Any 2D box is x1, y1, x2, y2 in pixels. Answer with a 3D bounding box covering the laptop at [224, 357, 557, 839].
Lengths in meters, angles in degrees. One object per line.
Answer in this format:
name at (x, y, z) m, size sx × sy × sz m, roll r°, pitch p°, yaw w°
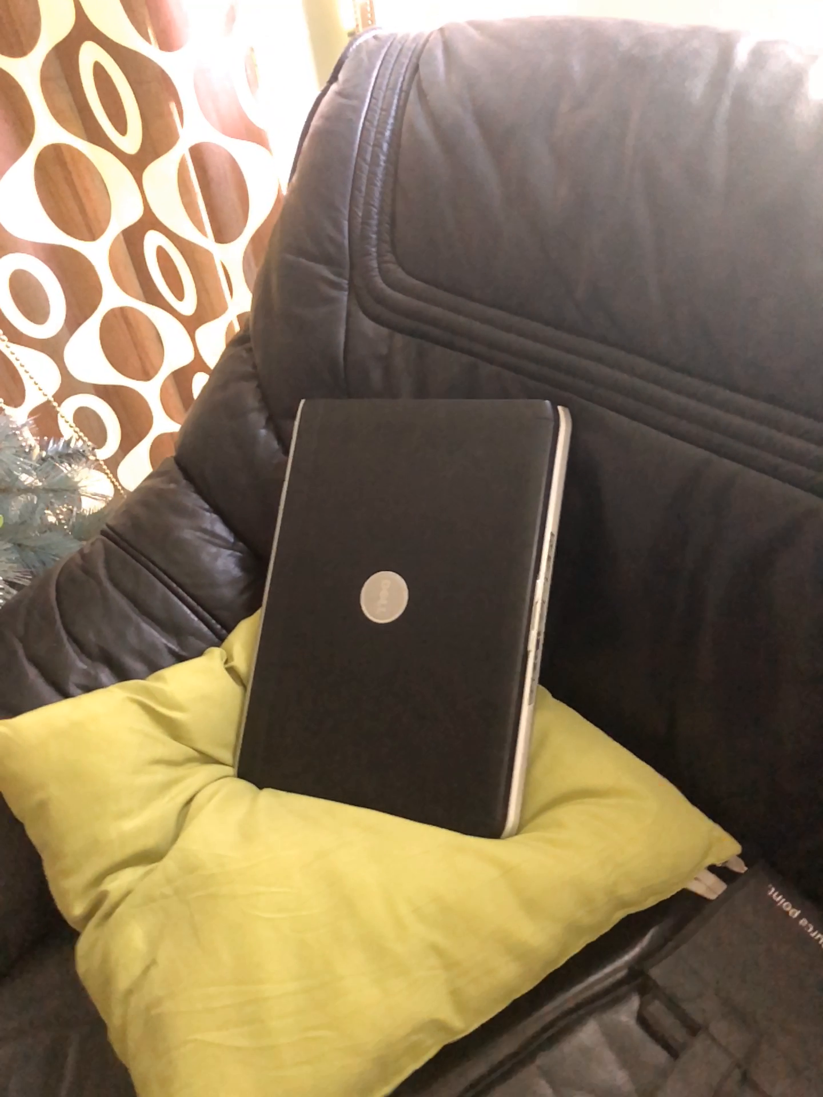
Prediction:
laptop at (-0.021, 0.025, 0.748) m, size 0.247 × 0.033 × 0.345 m, roll 5°, pitch 80°, yaw 28°
